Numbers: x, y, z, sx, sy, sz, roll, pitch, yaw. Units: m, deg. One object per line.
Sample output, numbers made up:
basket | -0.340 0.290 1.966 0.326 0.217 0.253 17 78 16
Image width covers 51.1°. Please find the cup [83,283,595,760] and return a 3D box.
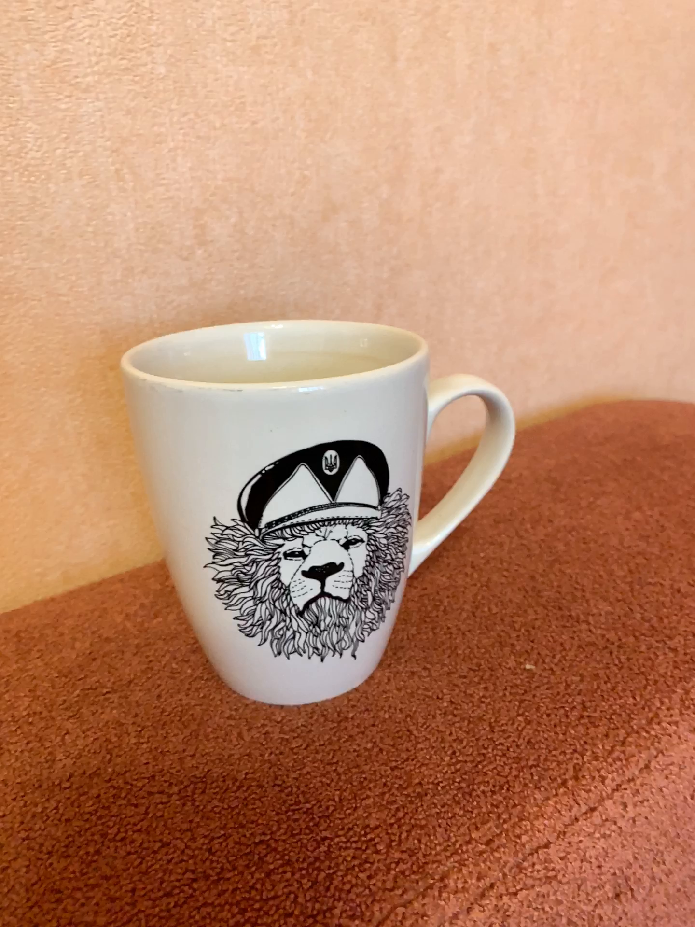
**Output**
cup | -0.010 0.004 0.238 0.125 0.095 0.106 -11 25 -18
